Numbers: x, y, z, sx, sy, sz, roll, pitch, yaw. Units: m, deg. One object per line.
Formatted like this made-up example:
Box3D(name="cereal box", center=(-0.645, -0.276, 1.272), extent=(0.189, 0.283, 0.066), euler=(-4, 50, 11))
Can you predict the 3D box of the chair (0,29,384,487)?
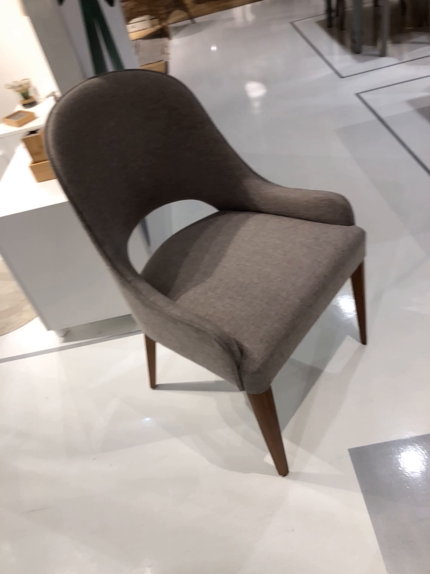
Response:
Box3D(name="chair", center=(0.016, -0.086, 1.238), extent=(0.612, 0.893, 0.573), euler=(20, 51, 35))
